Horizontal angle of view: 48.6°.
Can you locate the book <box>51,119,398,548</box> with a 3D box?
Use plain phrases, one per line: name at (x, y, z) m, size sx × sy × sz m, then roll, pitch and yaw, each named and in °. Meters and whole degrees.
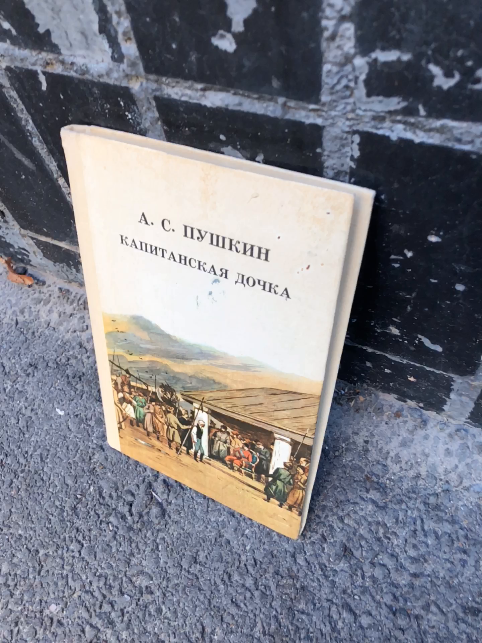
book at (-0.018, 0.019, 0.282) m, size 0.150 × 0.214 × 0.020 m, roll 20°, pitch 40°, yaw 20°
